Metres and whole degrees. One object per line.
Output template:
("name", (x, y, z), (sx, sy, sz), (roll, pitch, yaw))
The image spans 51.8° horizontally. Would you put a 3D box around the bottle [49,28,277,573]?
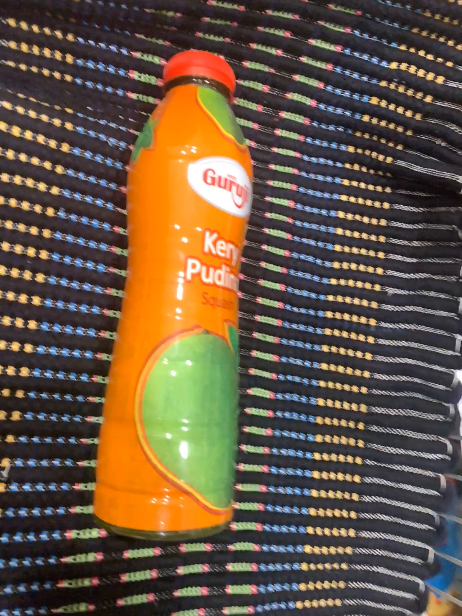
("bottle", (-0.025, -0.008, 0.240), (0.070, 0.070, 0.230), (31, 61, -70))
